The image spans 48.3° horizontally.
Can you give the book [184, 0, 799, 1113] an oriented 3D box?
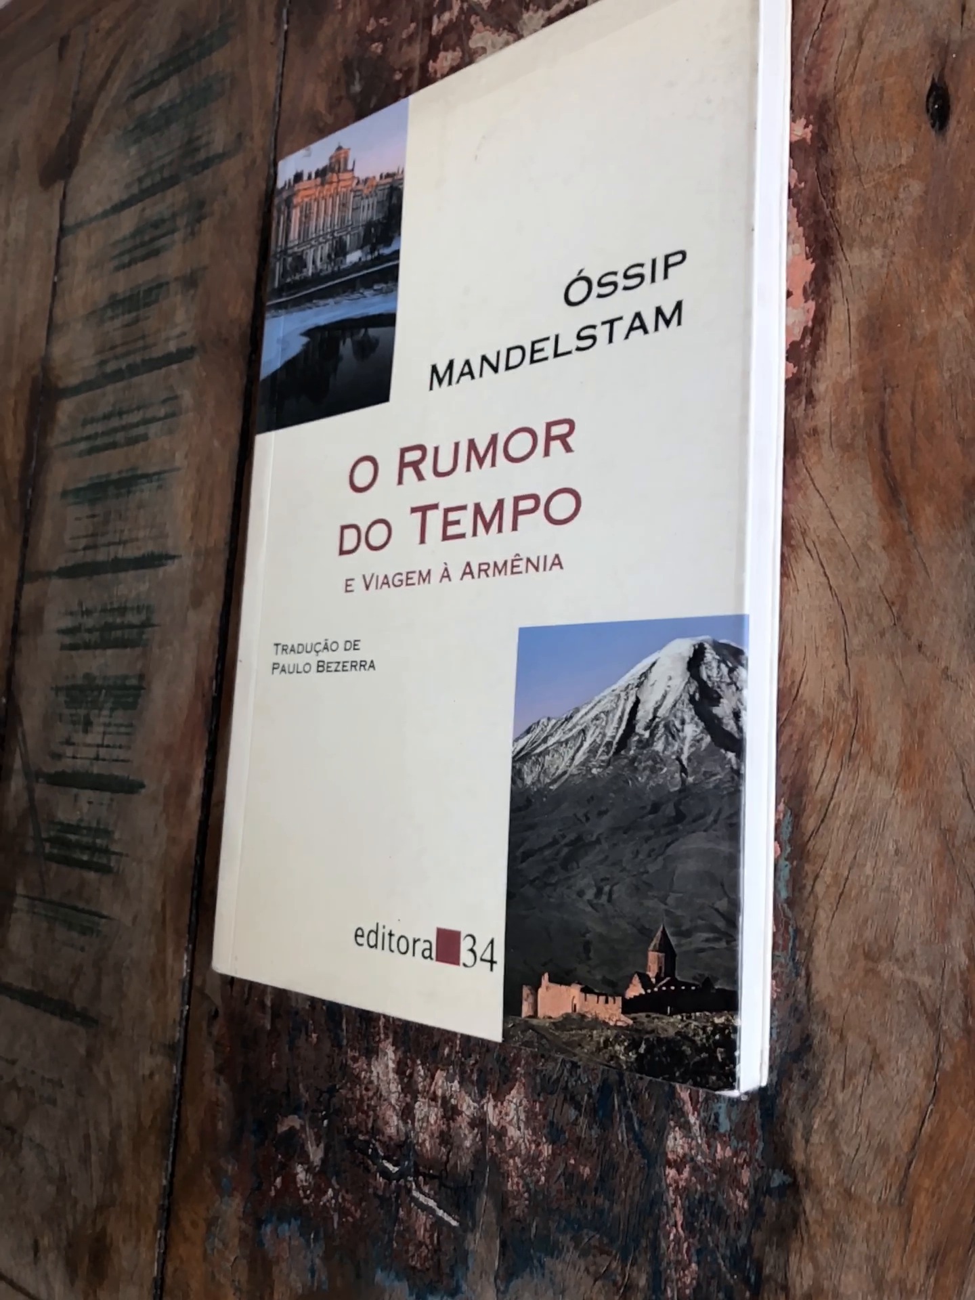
[{"bbox_3d":[-0.006,-0.028,0.231,0.141,0.022,0.207,-3,81,40],"label":"book"}]
